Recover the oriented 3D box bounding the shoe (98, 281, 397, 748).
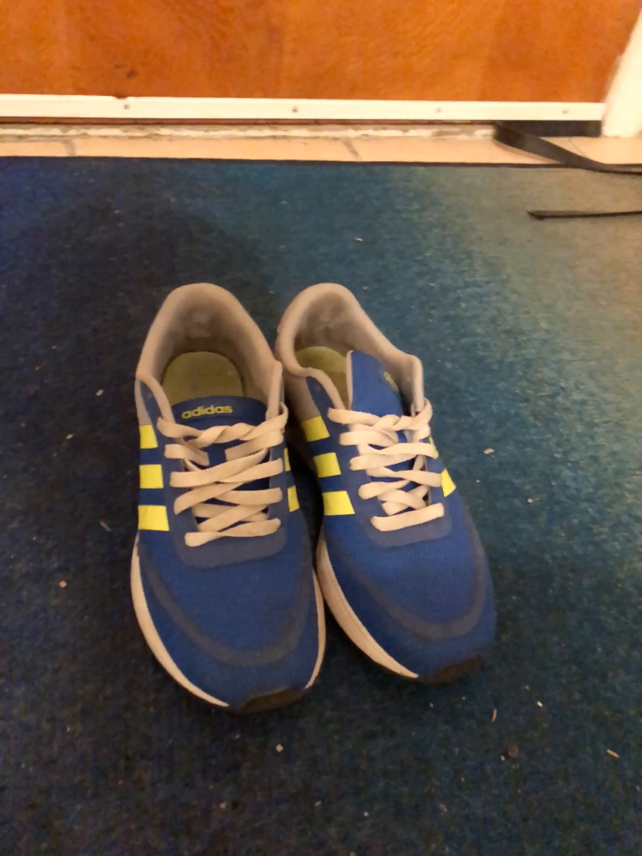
[{"bbox_3d":[-0.061,0.028,0.420,0.110,0.089,0.262,-7,47,-17],"label":"shoe"}]

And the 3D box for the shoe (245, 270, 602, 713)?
[{"bbox_3d":[0.038,0.017,0.435,0.110,0.089,0.262,-7,47,-17],"label":"shoe"}]
